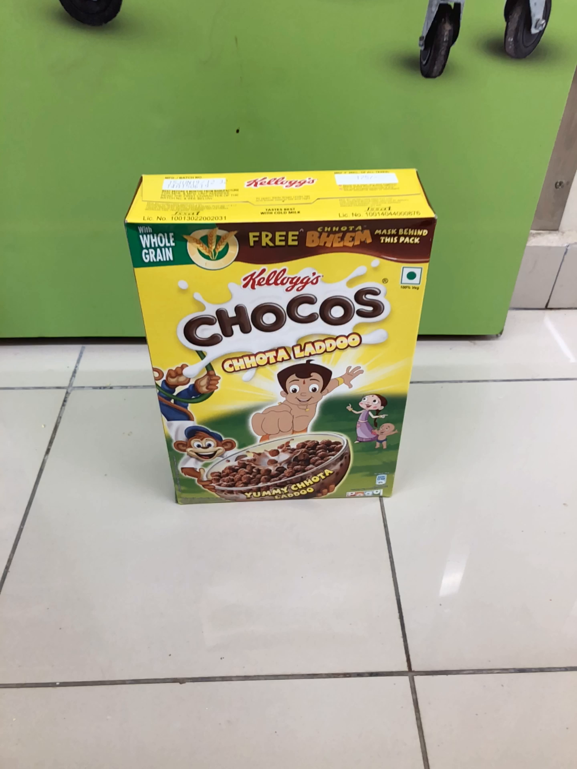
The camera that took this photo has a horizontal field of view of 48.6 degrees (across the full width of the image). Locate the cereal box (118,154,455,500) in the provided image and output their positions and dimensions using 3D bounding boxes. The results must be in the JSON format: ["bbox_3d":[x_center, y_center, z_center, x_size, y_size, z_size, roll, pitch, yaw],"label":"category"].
[{"bbox_3d":[-0.003,-0.028,0.470,0.190,0.258,0.070,-1,41,-2],"label":"cereal box"}]
